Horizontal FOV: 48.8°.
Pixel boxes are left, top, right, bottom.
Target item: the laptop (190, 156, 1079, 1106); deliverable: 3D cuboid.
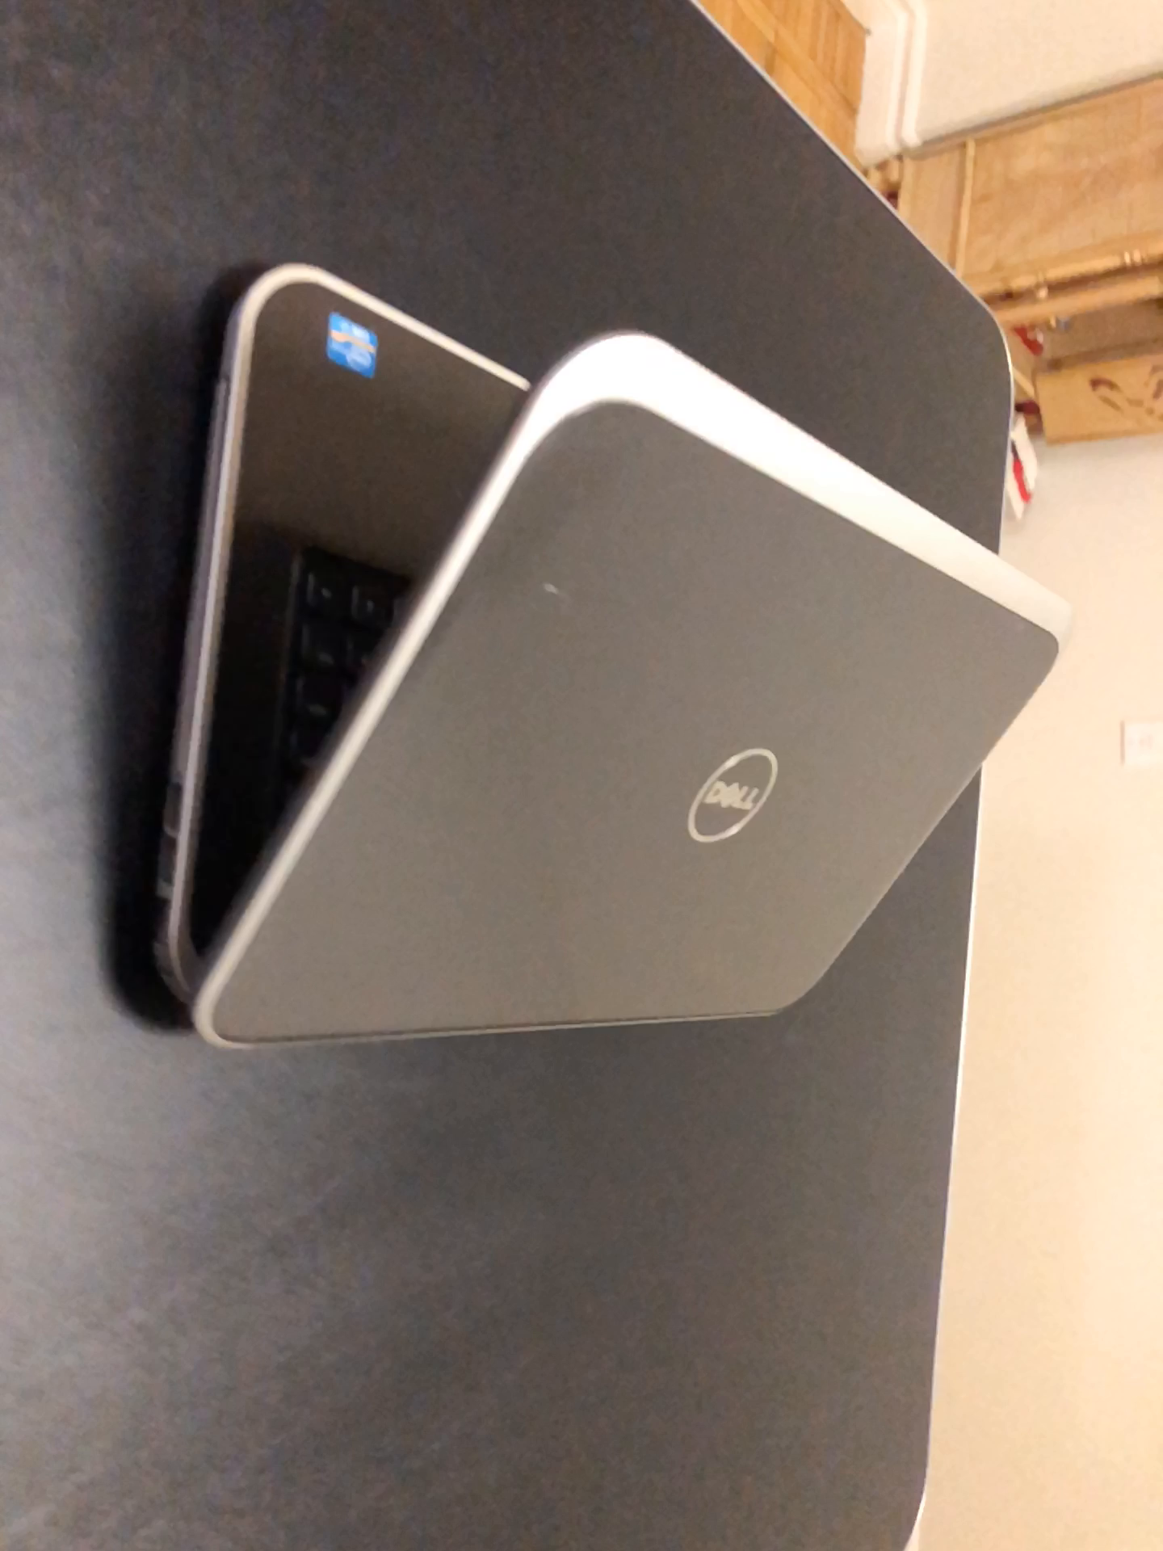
[{"bbox_3d":[0.056,-0.021,0.499,0.358,0.137,0.239,10,85,-50],"label":"laptop"}]
